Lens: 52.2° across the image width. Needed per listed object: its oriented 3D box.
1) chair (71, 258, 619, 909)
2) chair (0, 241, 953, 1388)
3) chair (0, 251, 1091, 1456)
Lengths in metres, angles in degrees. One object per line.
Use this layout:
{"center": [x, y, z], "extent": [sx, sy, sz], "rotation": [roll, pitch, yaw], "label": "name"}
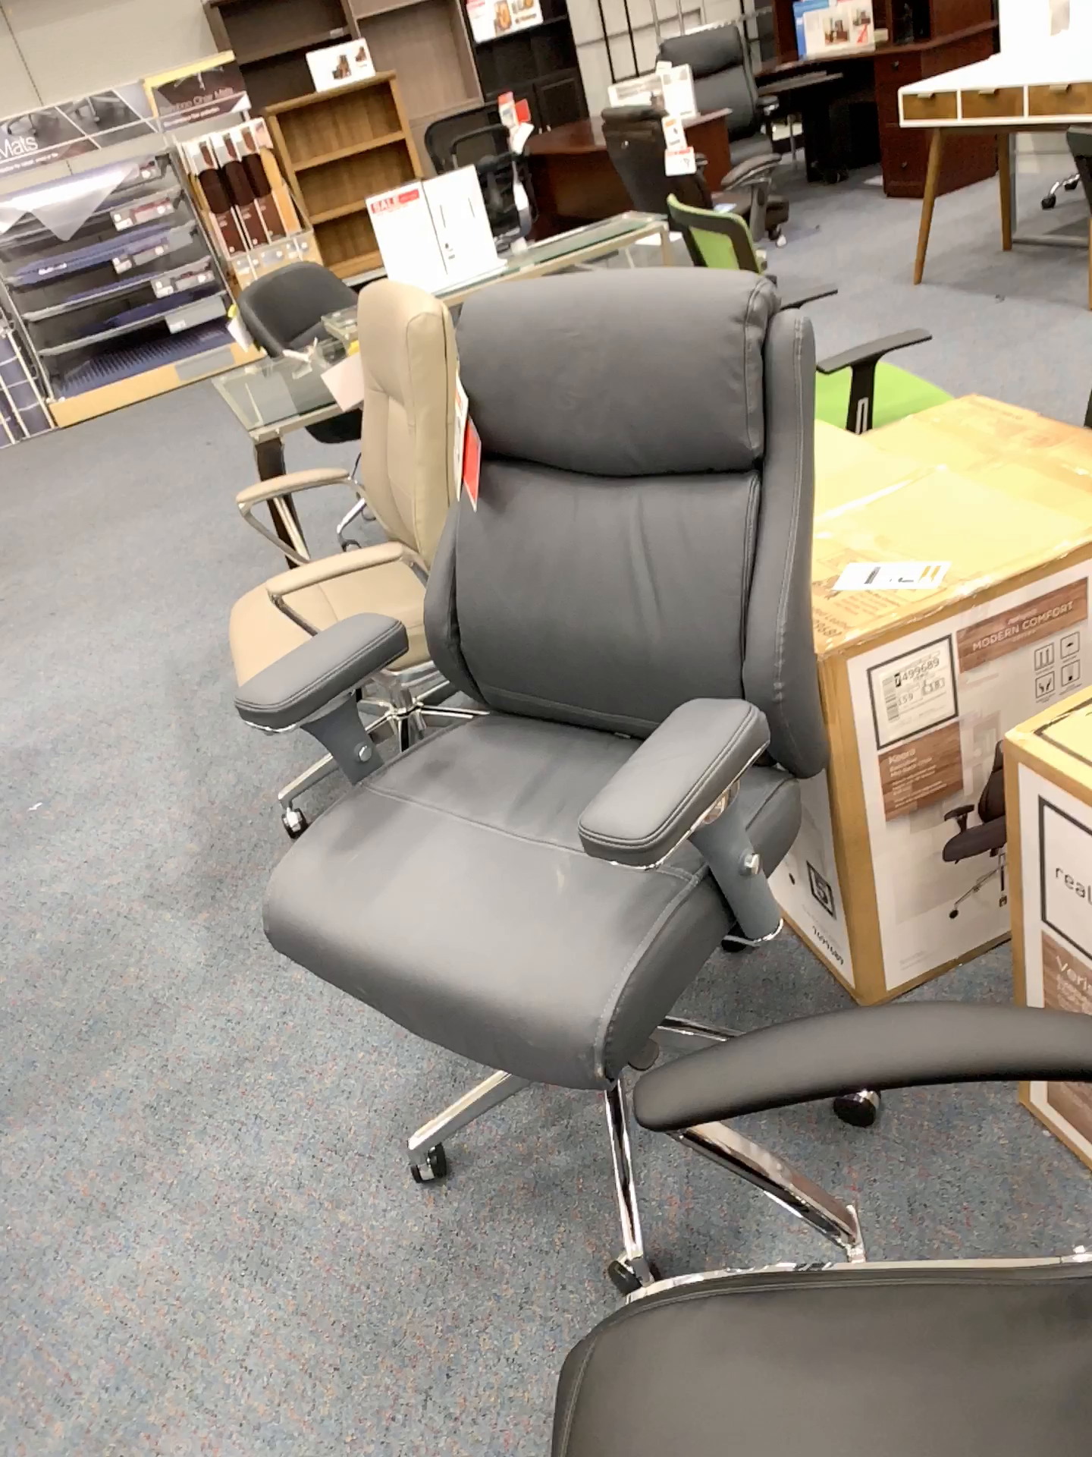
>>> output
{"center": [-0.426, -0.347, 2.360], "extent": [0.714, 0.976, 0.788], "rotation": [-23, 32, -10], "label": "chair"}
{"center": [0.046, 0.072, 1.401], "extent": [0.696, 1.075, 0.696], "rotation": [12, 41, 32], "label": "chair"}
{"center": [0.311, 0.476, 0.621], "extent": [0.784, 1.095, 0.768], "rotation": [-11, 32, 10], "label": "chair"}
